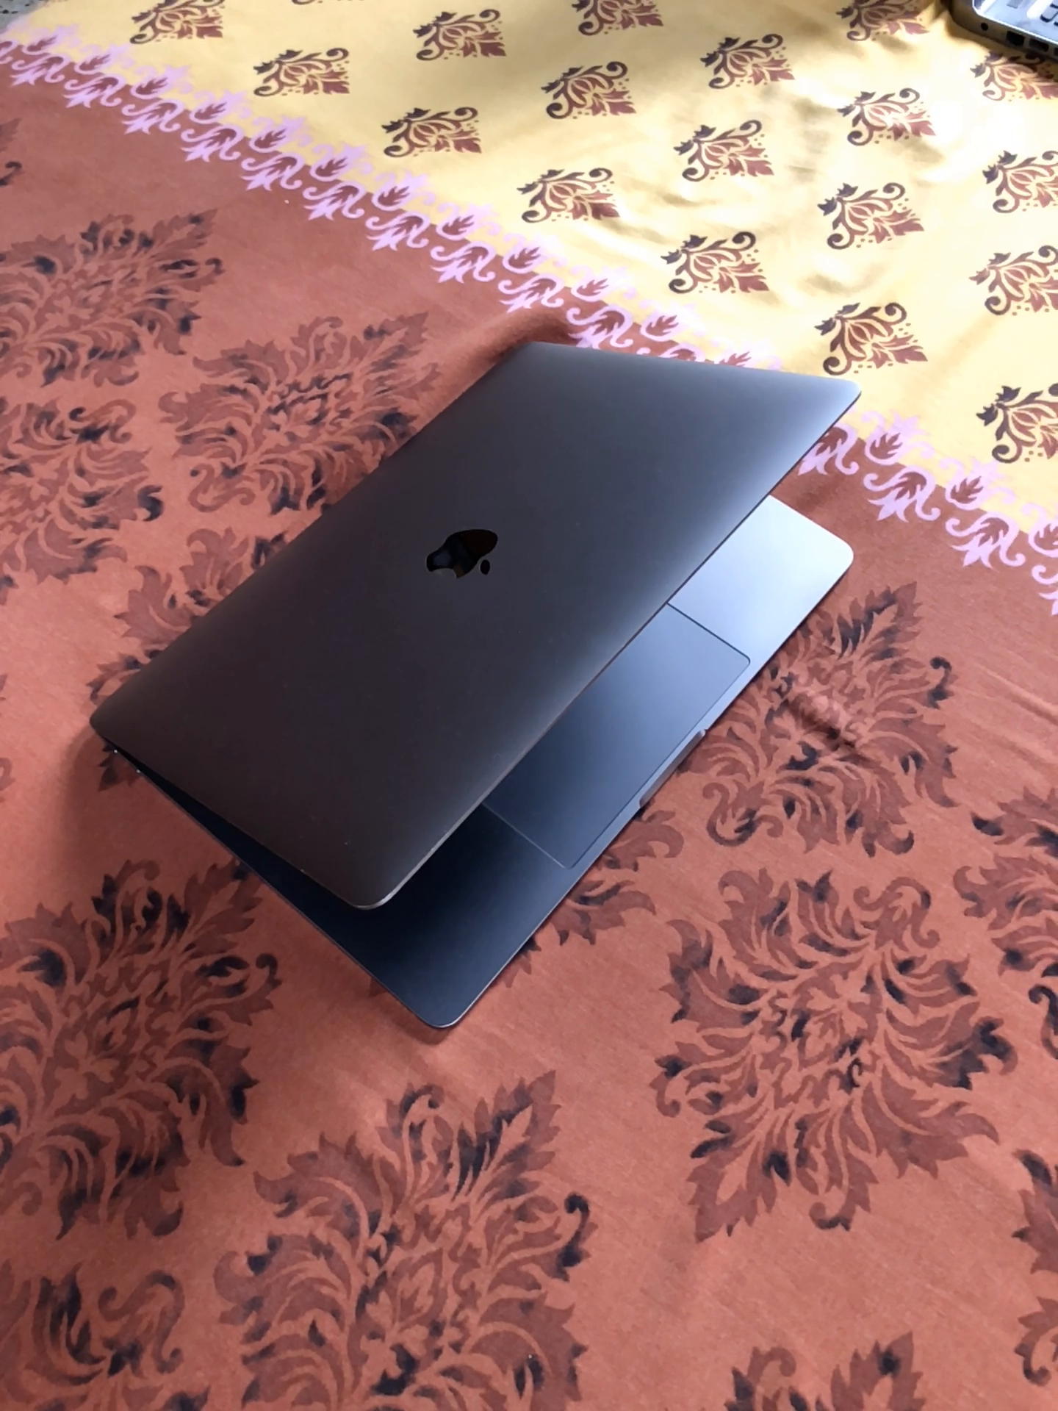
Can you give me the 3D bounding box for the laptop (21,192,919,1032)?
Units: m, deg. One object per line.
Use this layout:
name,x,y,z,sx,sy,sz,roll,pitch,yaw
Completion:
laptop,-0.016,-0.054,0.481,0.204,0.093,0.286,36,68,19
